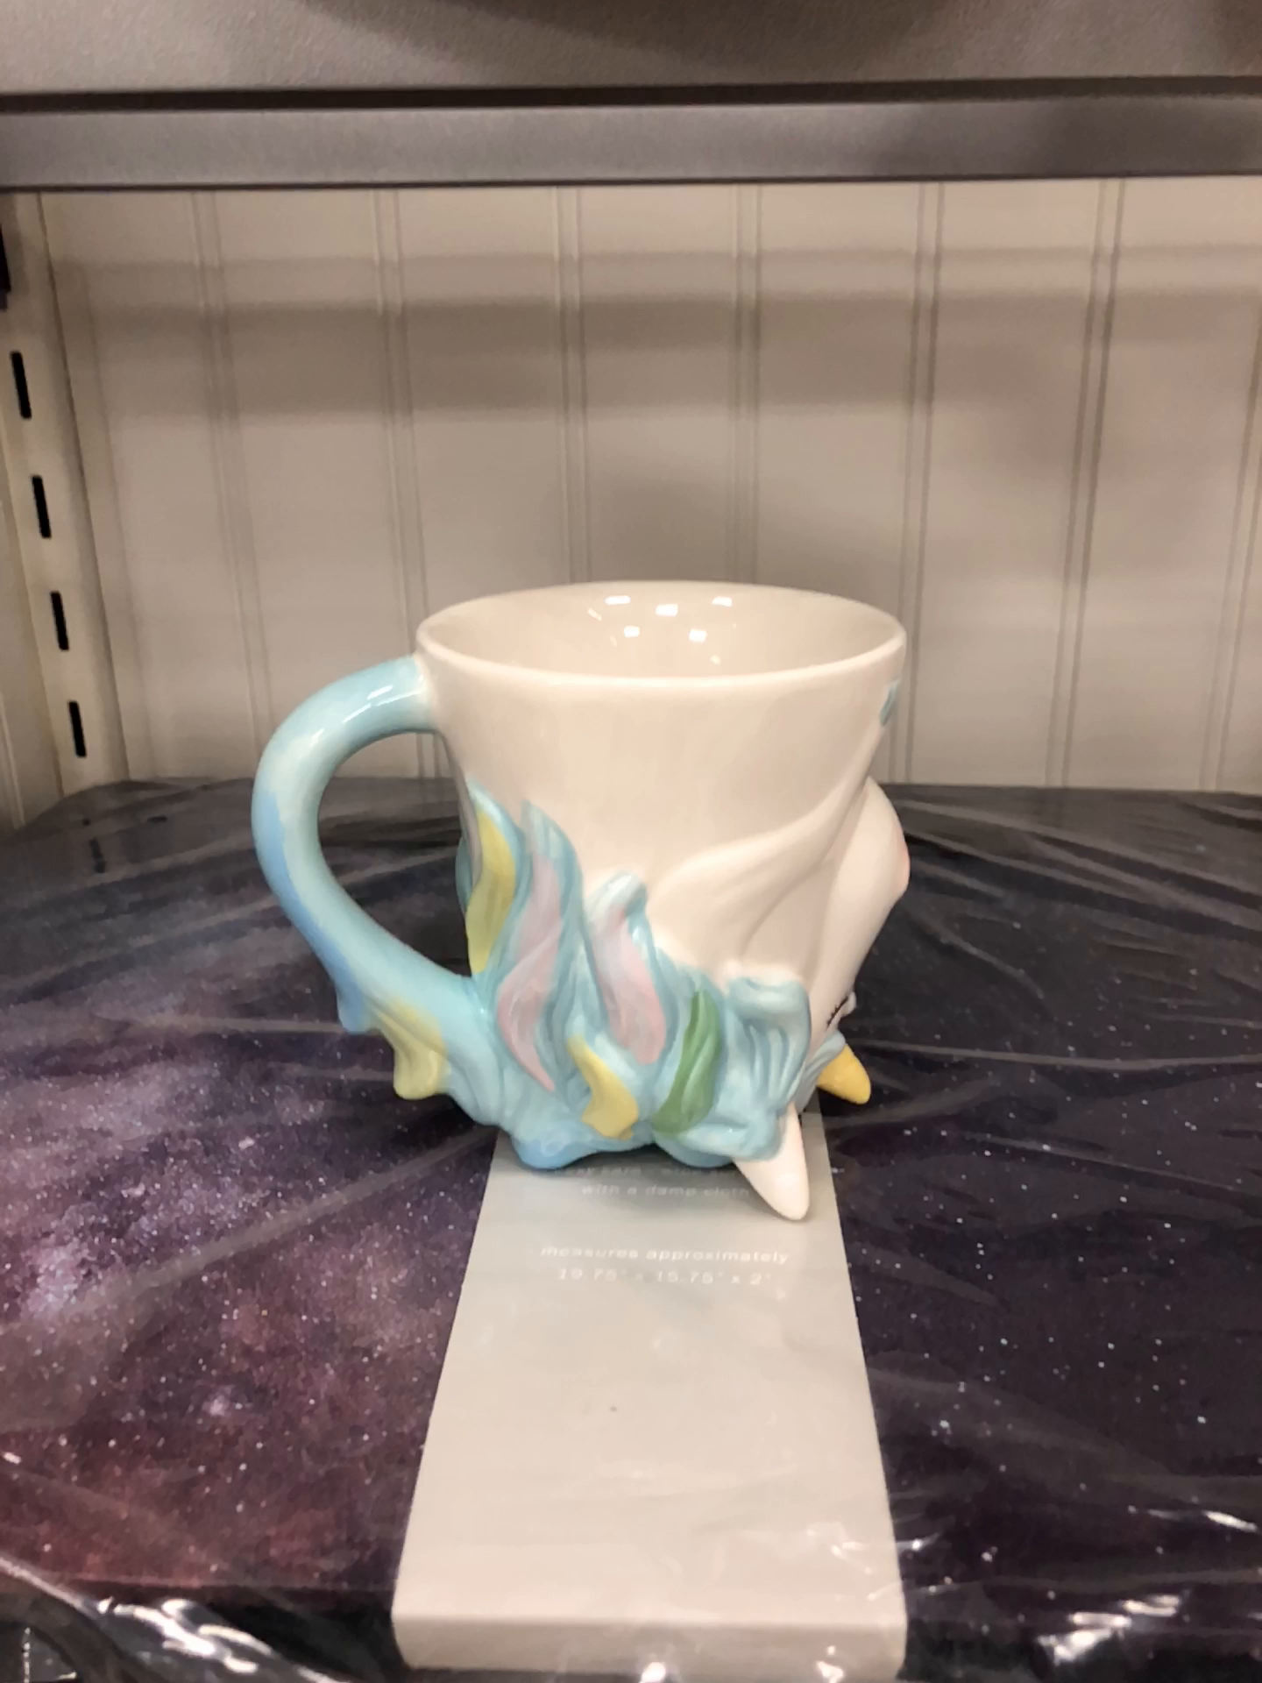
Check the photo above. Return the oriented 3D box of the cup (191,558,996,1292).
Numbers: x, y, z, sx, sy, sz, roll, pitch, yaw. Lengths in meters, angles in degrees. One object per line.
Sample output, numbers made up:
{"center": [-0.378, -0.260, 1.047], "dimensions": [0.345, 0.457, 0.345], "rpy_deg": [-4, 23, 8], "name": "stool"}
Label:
{"center": [-0.011, 0.009, 0.309], "dimensions": [0.140, 0.118, 0.101], "rpy_deg": [-4, 21, -8], "name": "cup"}
